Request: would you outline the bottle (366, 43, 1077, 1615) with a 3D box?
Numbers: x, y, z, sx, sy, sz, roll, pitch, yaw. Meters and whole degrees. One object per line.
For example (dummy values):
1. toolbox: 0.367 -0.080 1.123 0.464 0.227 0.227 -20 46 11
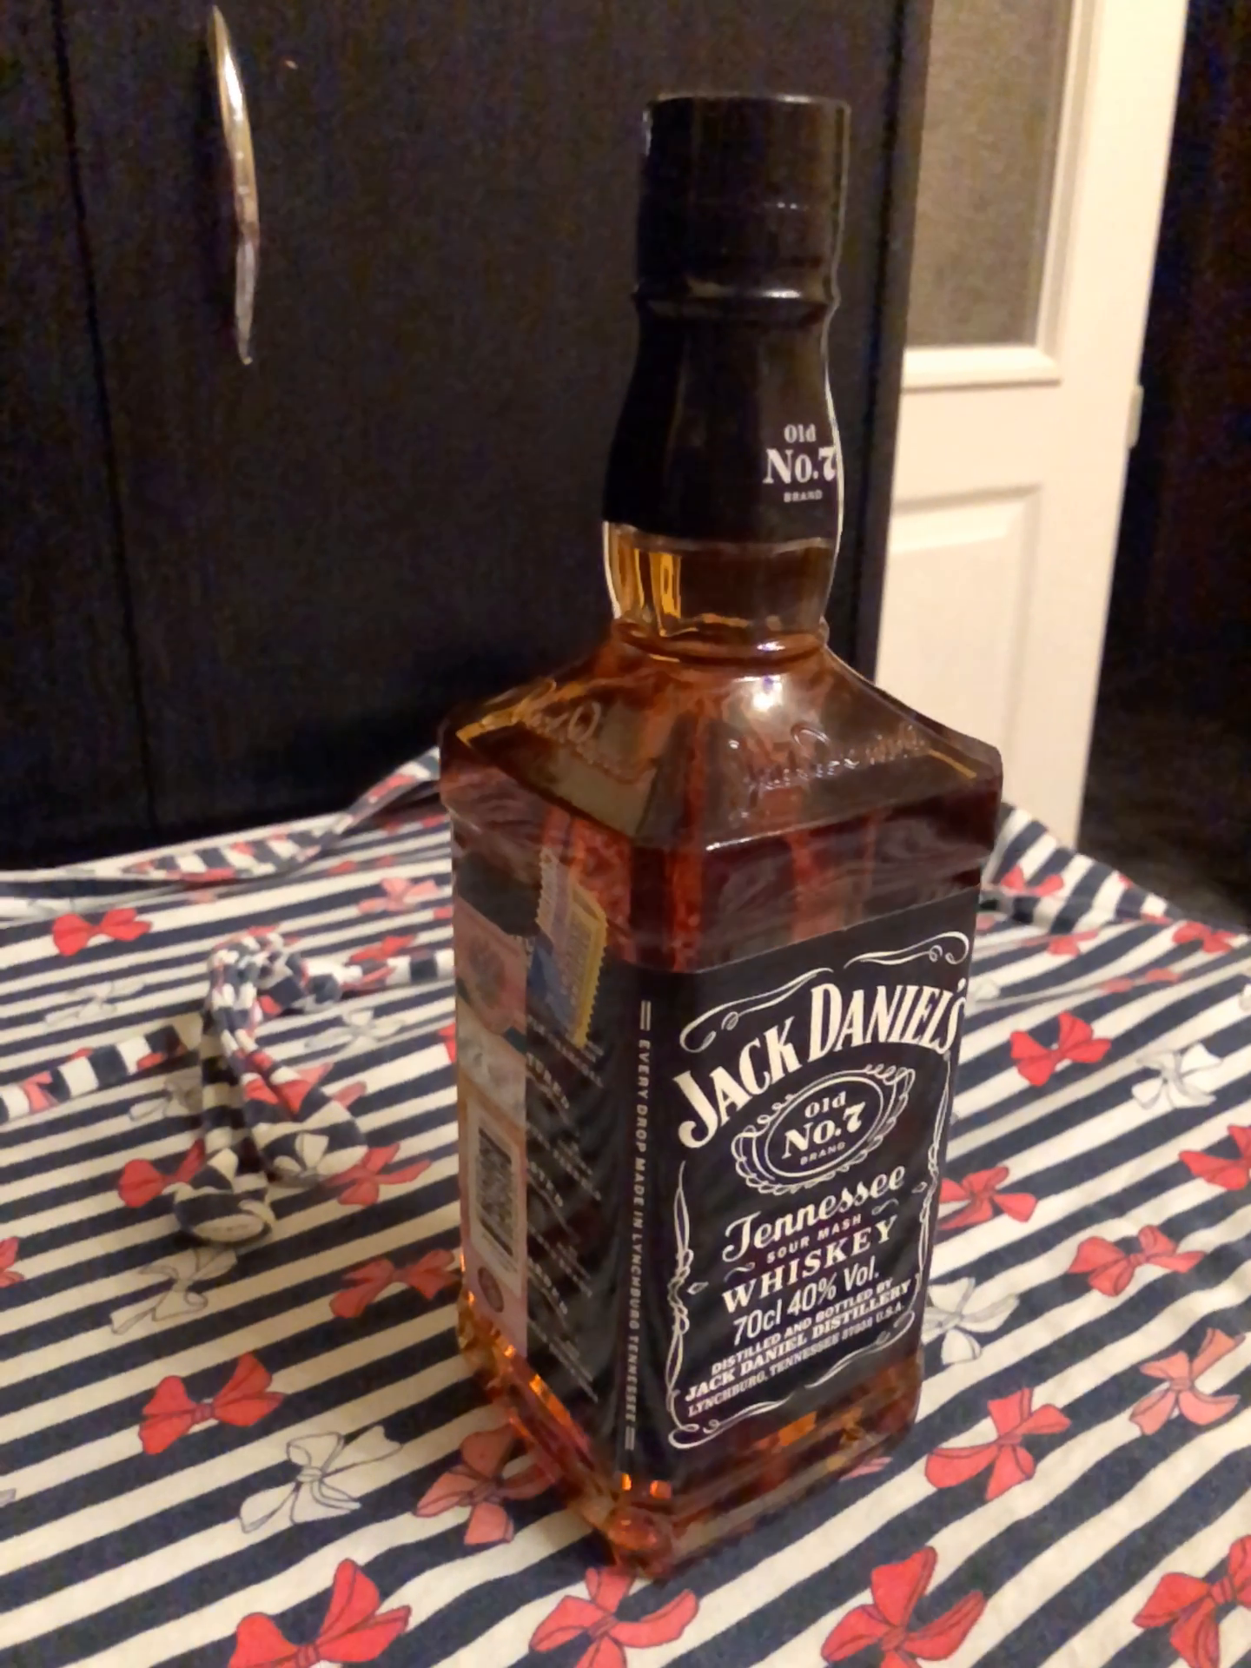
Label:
1. bottle: 0.012 0.006 0.250 0.074 0.246 0.073 0 22 0
